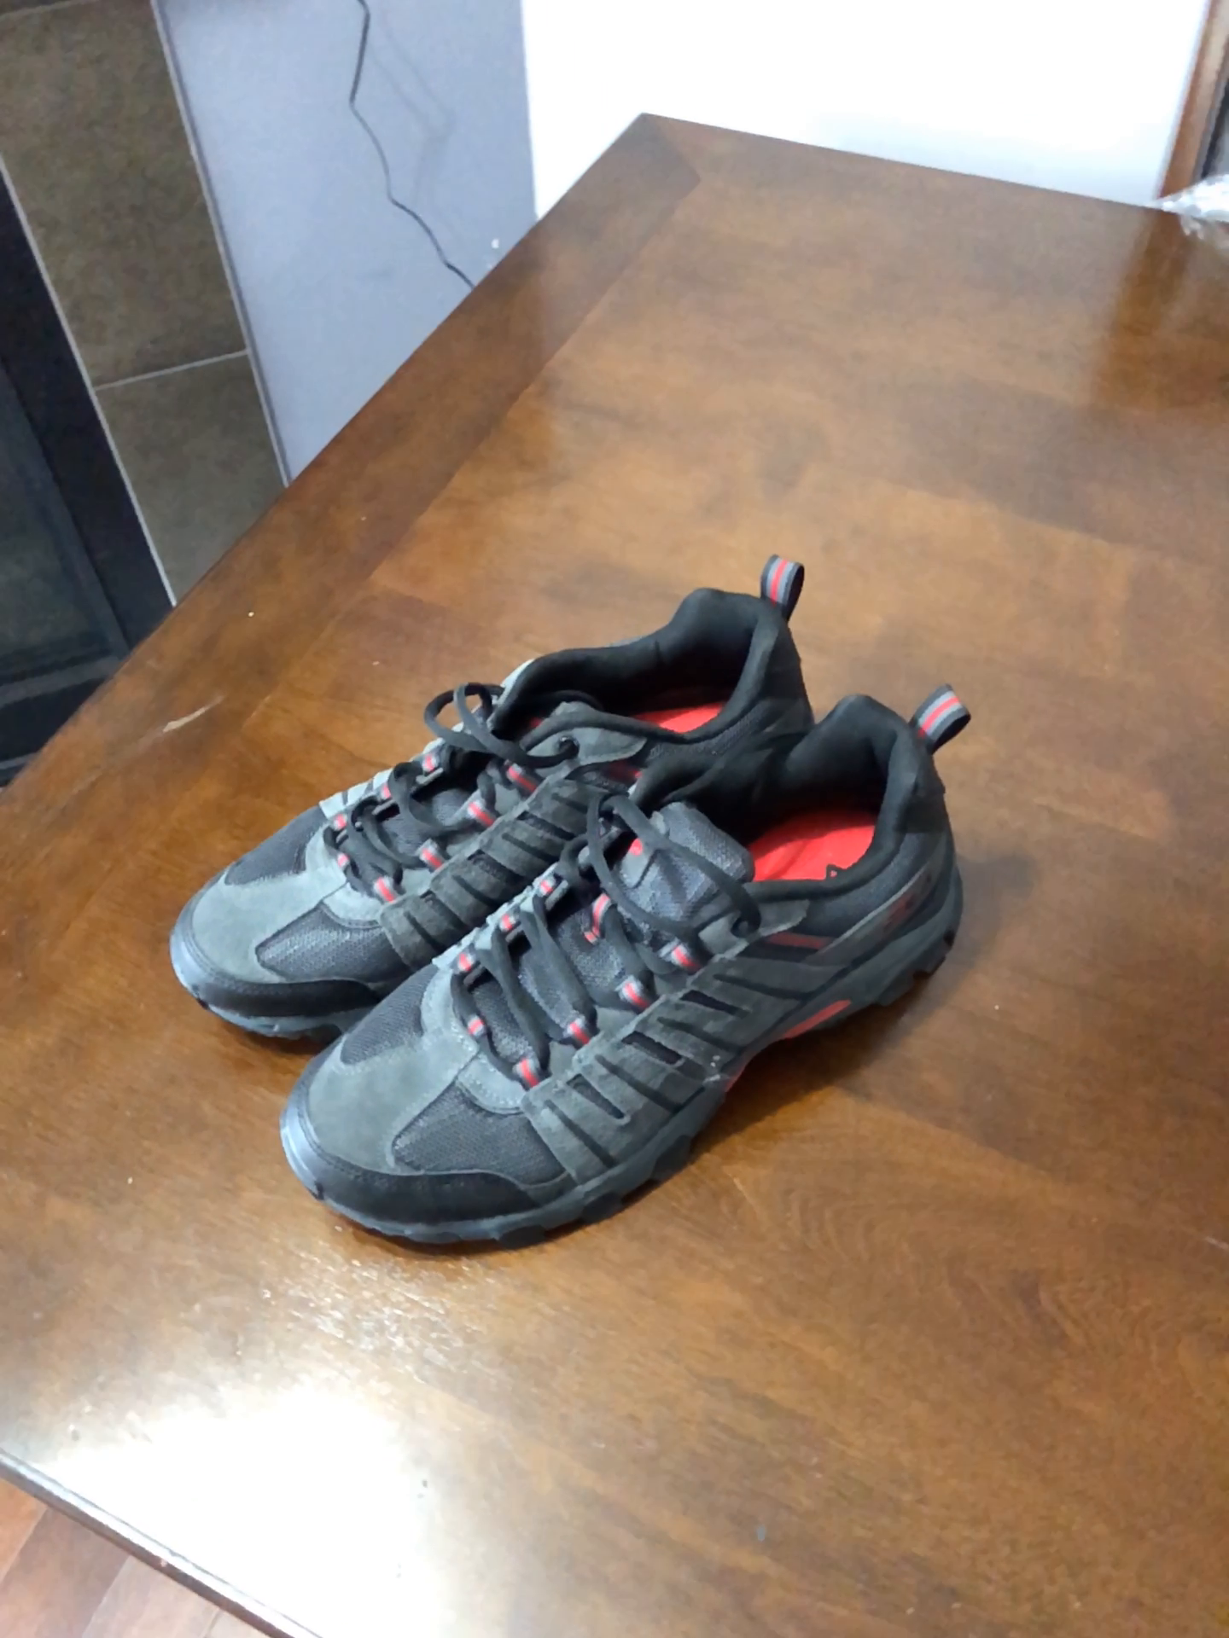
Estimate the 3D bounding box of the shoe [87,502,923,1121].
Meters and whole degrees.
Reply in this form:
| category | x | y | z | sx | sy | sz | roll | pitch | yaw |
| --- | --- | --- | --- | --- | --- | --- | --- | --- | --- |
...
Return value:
| category | x | y | z | sx | sy | sz | roll | pitch | yaw |
| --- | --- | --- | --- | --- | --- | --- | --- | --- | --- |
| shoe | -0.039 | -0.011 | 0.563 | 0.300 | 0.100 | 0.120 | -23 | 55 | -15 |

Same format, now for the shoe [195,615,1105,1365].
| category | x | y | z | sx | sy | sz | roll | pitch | yaw |
| --- | --- | --- | --- | --- | --- | --- | --- | --- | --- |
| shoe | 0.019 | 0.054 | 0.511 | 0.300 | 0.100 | 0.120 | -28 | 56 | -18 |
